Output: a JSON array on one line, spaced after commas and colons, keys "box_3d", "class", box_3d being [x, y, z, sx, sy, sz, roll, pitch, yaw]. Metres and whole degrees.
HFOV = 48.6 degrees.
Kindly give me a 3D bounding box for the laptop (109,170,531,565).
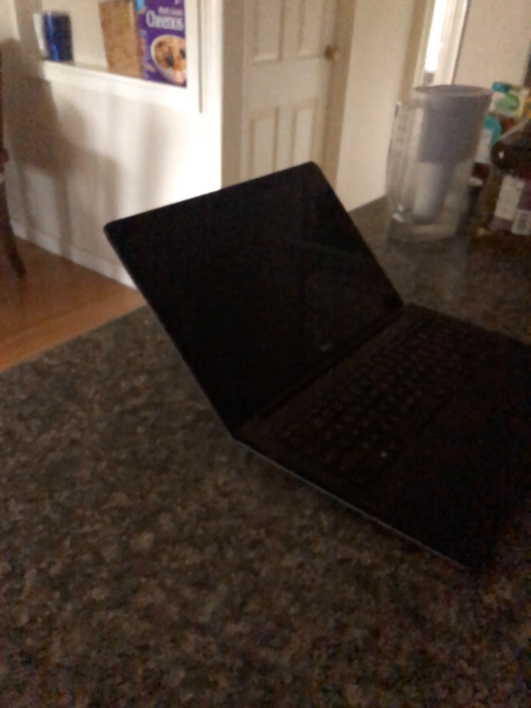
[{"box_3d": [0.113, -0.049, 0.642, 0.415, 0.158, 0.362, 24, 38, 31], "class": "laptop"}]
